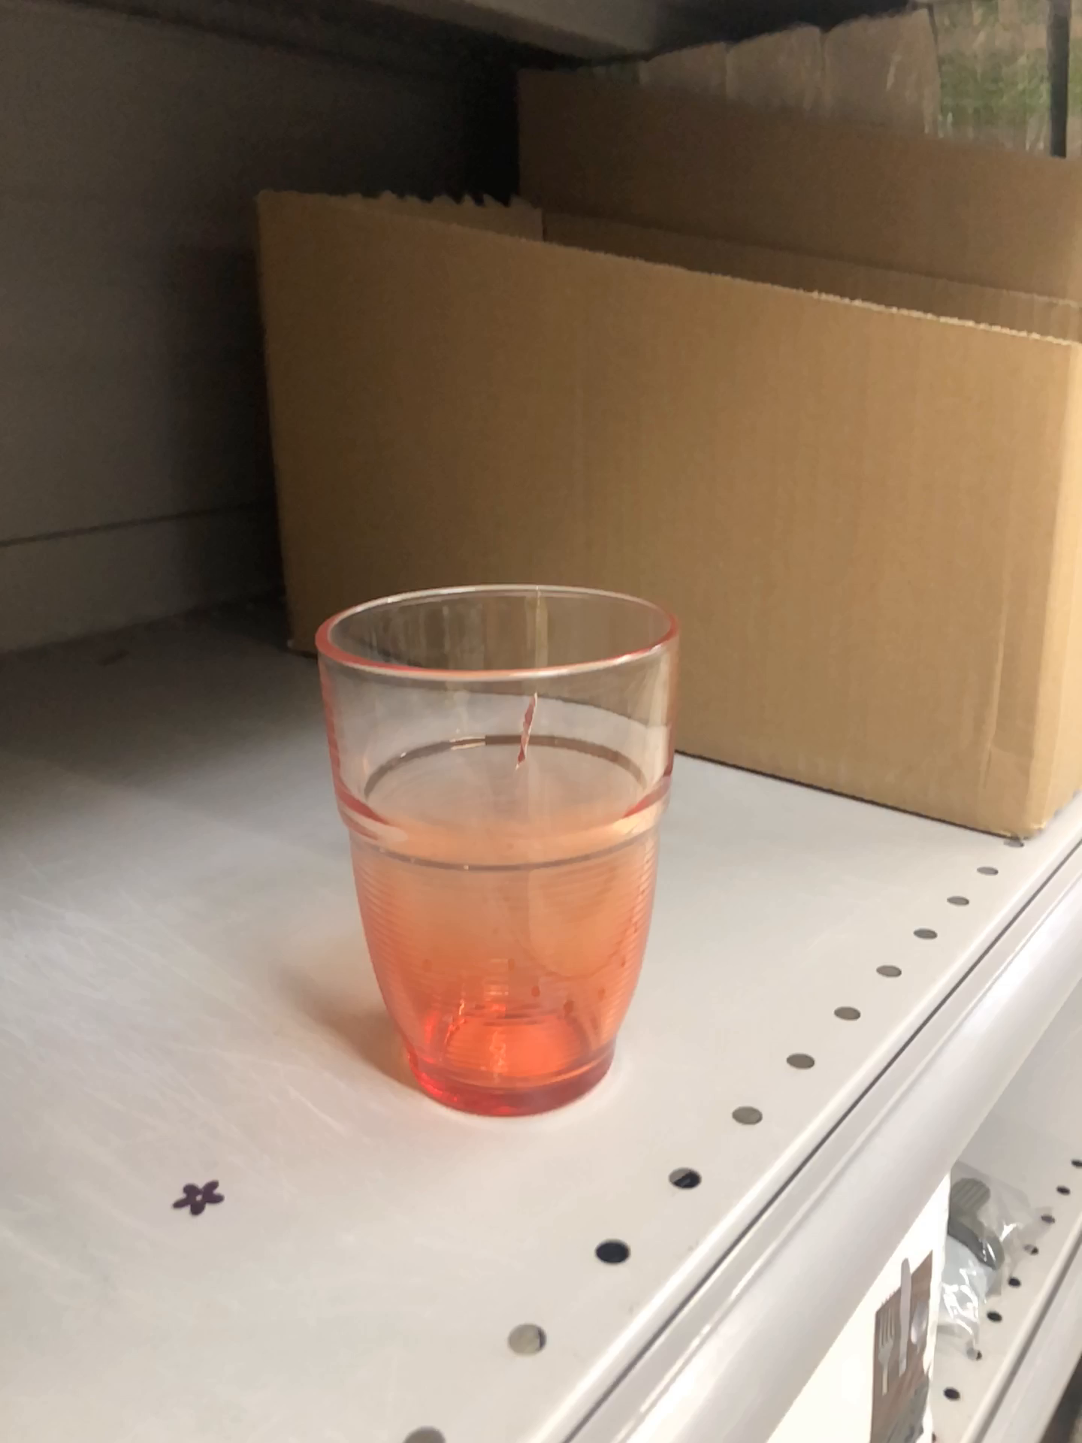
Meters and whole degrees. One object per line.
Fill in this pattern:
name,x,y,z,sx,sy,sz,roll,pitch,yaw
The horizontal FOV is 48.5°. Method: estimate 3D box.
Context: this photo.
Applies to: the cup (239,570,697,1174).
cup,-0.009,0.025,0.261,0.074,0.100,0.080,-1,17,0
